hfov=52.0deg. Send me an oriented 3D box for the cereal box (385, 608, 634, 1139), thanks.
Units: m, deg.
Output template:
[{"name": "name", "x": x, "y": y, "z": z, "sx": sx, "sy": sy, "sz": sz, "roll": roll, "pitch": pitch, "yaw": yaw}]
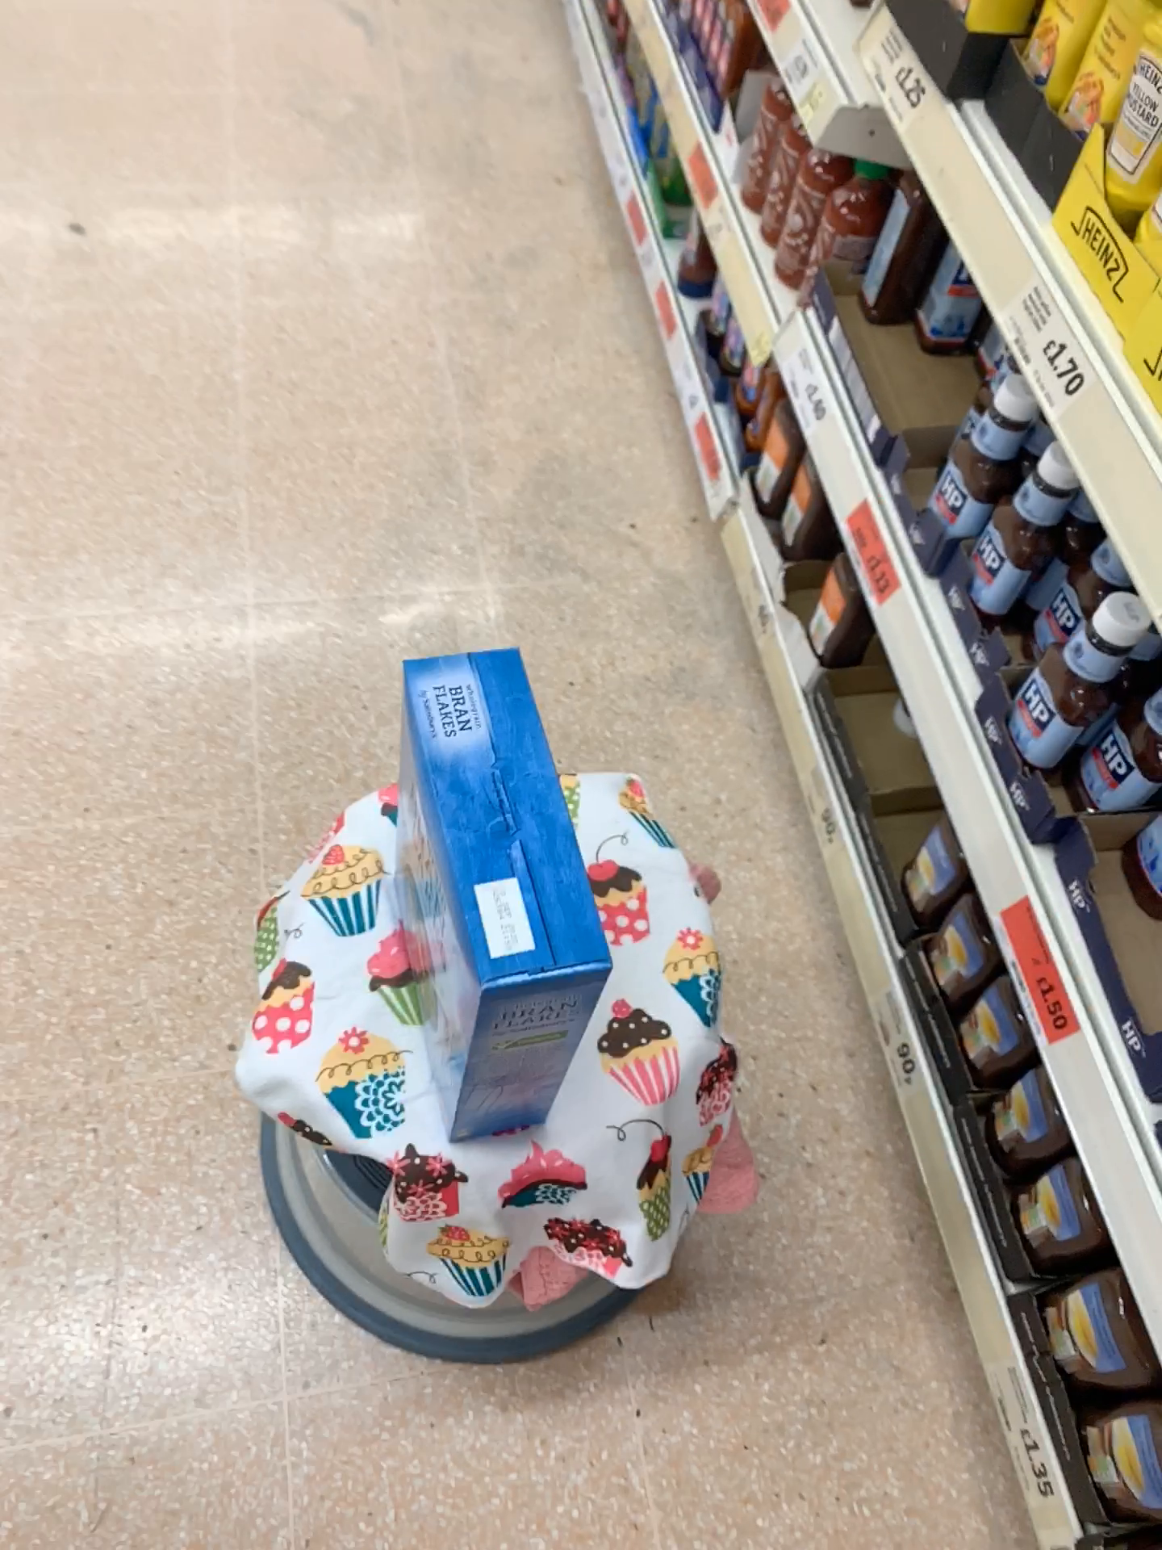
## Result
[{"name": "cereal box", "x": -0.058, "y": 0.069, "z": 0.713, "sx": 0.080, "sy": 0.258, "sz": 0.211, "roll": -9, "pitch": 59, "yaw": -14}]
